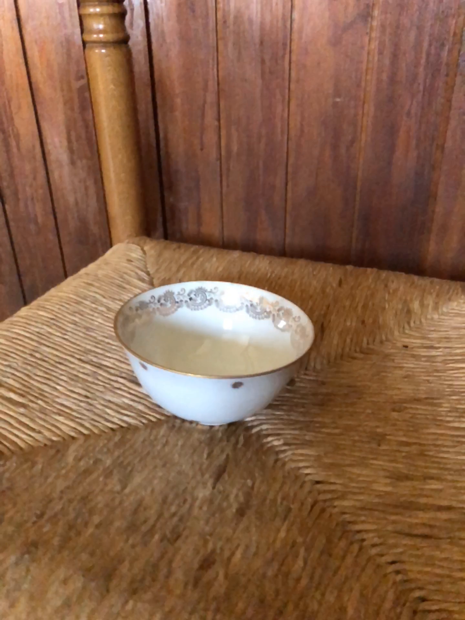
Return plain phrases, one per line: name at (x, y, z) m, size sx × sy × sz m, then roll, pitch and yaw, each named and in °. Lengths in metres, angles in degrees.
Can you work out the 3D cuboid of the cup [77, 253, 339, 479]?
cup at (-0.004, 0.021, 0.306) m, size 0.110 × 0.050 × 0.131 m, roll 10°, pitch 31°, yaw 16°
